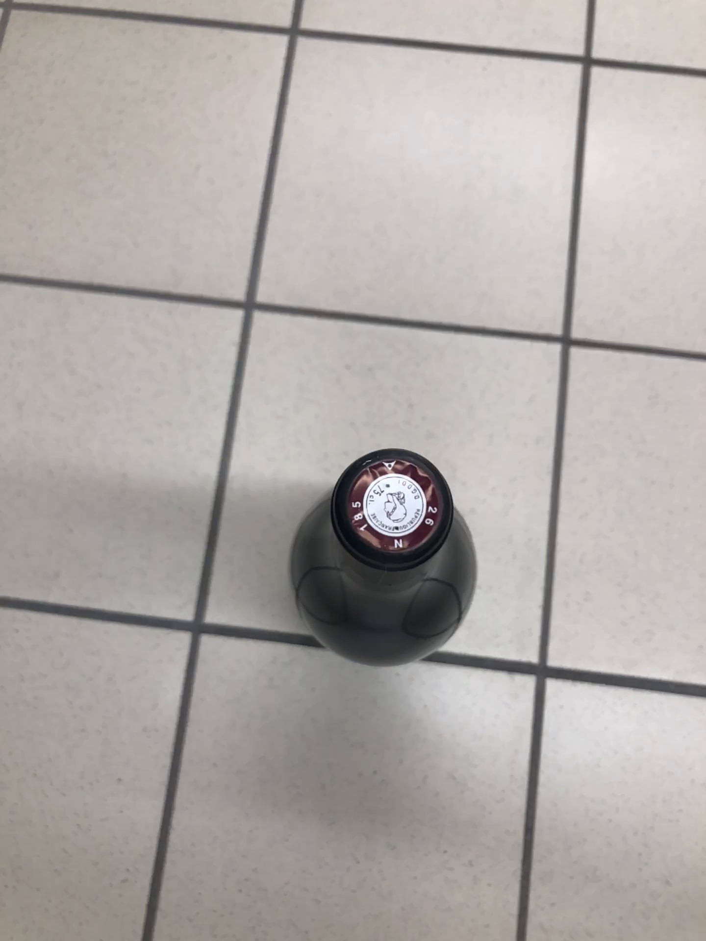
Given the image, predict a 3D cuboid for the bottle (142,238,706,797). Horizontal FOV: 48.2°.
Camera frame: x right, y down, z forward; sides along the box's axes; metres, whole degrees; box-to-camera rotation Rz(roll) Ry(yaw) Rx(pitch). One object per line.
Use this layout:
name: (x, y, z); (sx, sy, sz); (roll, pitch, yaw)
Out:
bottle: (0.019, 0.036, 0.319); (0.090, 0.290, 0.090); (0, 78, 1)
